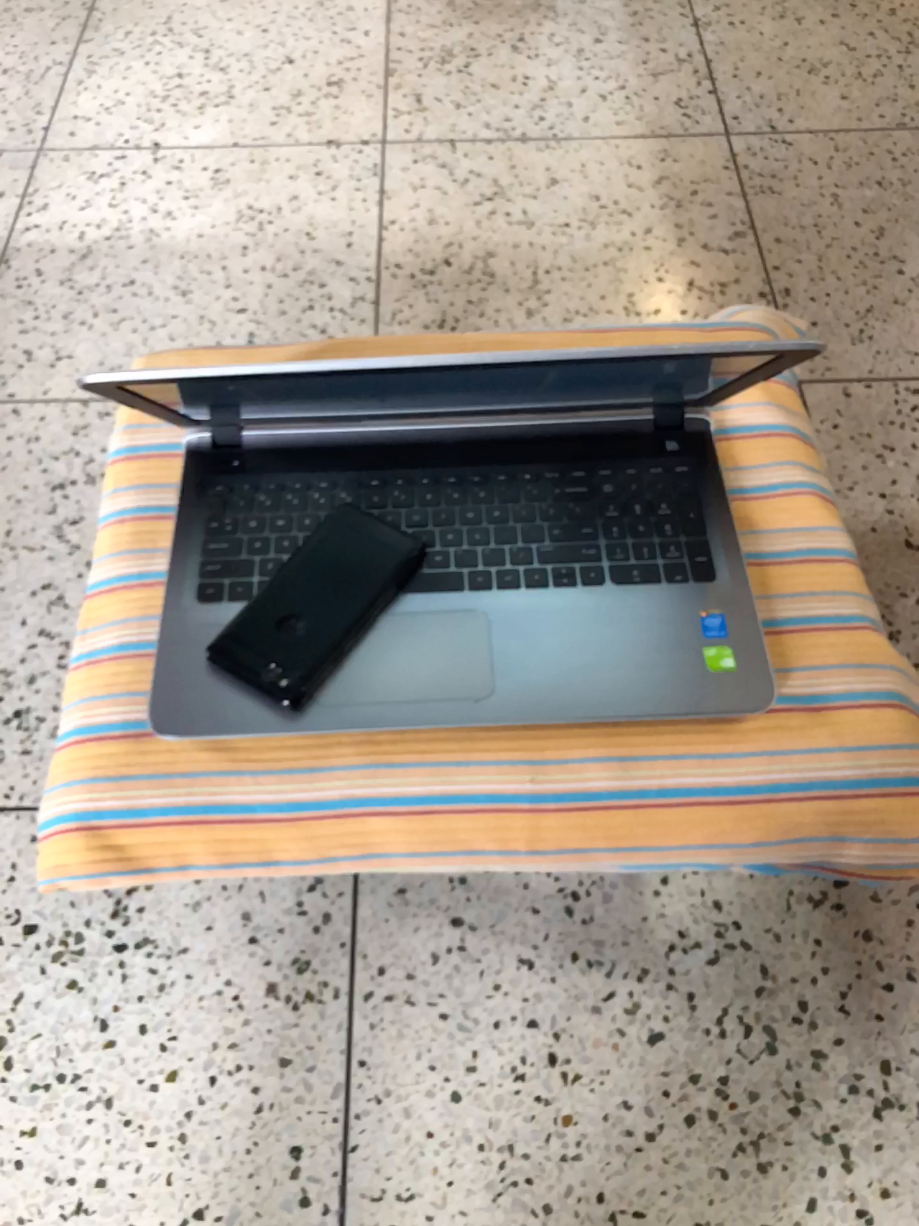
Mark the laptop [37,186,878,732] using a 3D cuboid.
[{"bbox_3d":[-0.003,-0.088,0.594,0.371,0.184,0.237,-3,56,-1],"label":"laptop"}]
